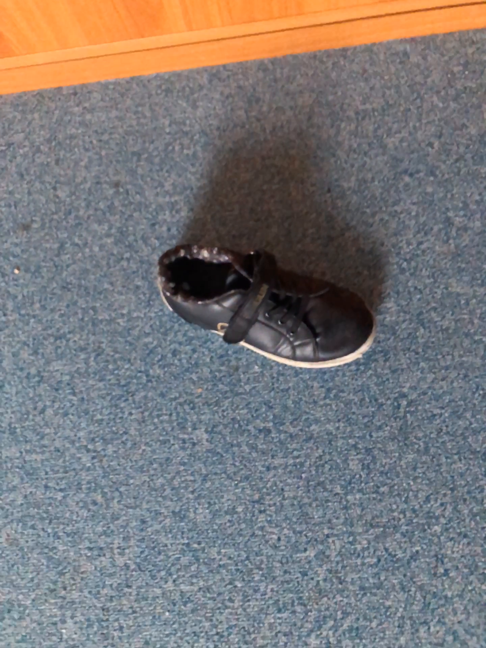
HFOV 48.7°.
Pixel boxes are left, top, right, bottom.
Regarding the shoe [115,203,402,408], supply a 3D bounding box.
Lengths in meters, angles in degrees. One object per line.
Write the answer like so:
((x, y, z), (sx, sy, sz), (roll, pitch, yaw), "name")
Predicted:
((0.016, -0.016, 0.517), (0.230, 0.090, 0.110), (19, 77, 11), "shoe")
